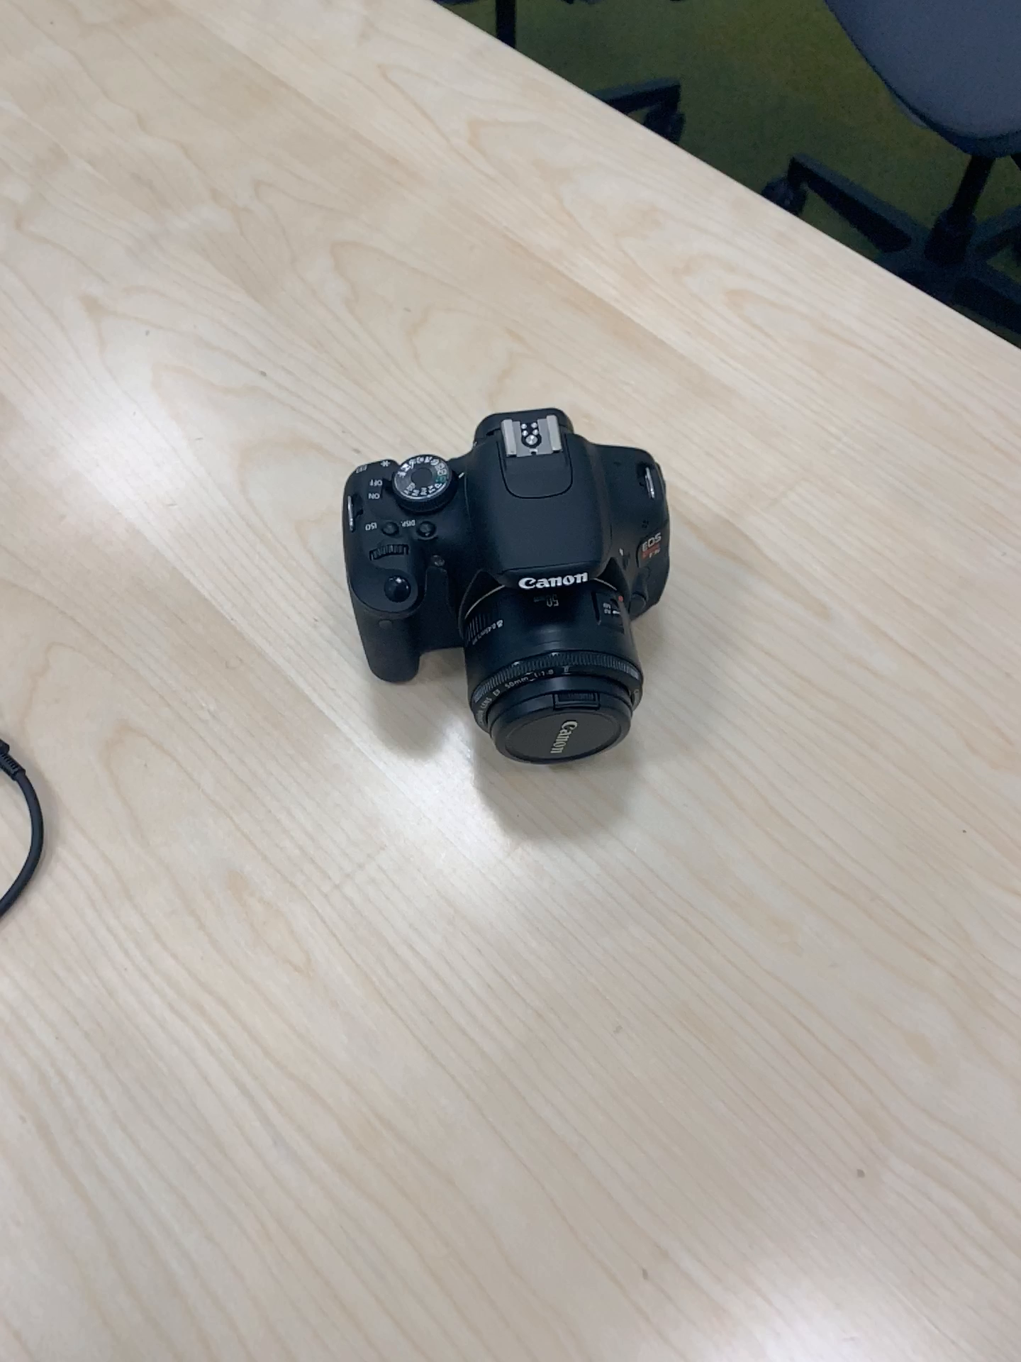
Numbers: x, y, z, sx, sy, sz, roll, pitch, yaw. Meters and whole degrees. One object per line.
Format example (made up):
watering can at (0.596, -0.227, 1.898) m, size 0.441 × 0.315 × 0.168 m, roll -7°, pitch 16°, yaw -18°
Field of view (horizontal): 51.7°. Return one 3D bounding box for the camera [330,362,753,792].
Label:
camera at (0.006, -0.038, 0.402) m, size 0.130 × 0.090 × 0.120 m, roll -7°, pitch 62°, yaw -2°
